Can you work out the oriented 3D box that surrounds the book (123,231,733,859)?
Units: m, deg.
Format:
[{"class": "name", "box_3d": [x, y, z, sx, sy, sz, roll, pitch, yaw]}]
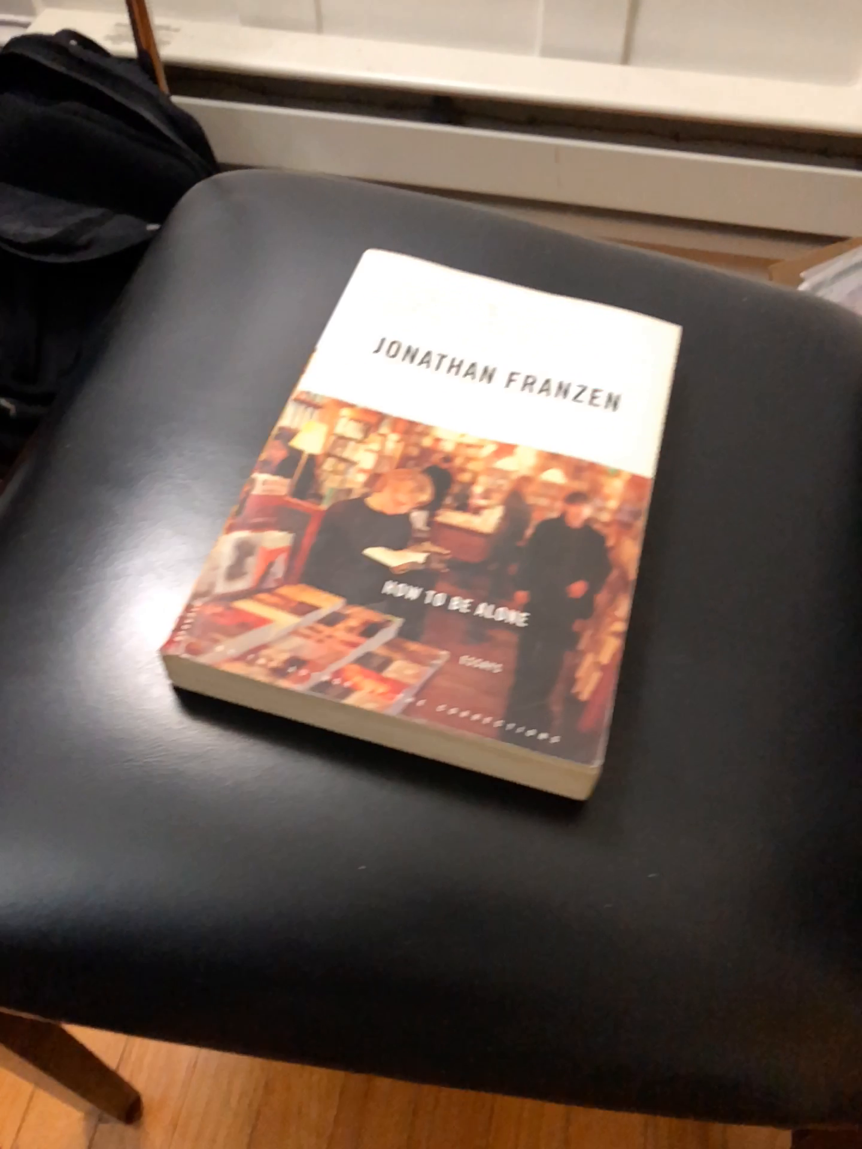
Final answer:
[{"class": "book", "box_3d": [0.016, -0.032, 0.358, 0.160, 0.040, 0.231, 13, 55, 9]}]
